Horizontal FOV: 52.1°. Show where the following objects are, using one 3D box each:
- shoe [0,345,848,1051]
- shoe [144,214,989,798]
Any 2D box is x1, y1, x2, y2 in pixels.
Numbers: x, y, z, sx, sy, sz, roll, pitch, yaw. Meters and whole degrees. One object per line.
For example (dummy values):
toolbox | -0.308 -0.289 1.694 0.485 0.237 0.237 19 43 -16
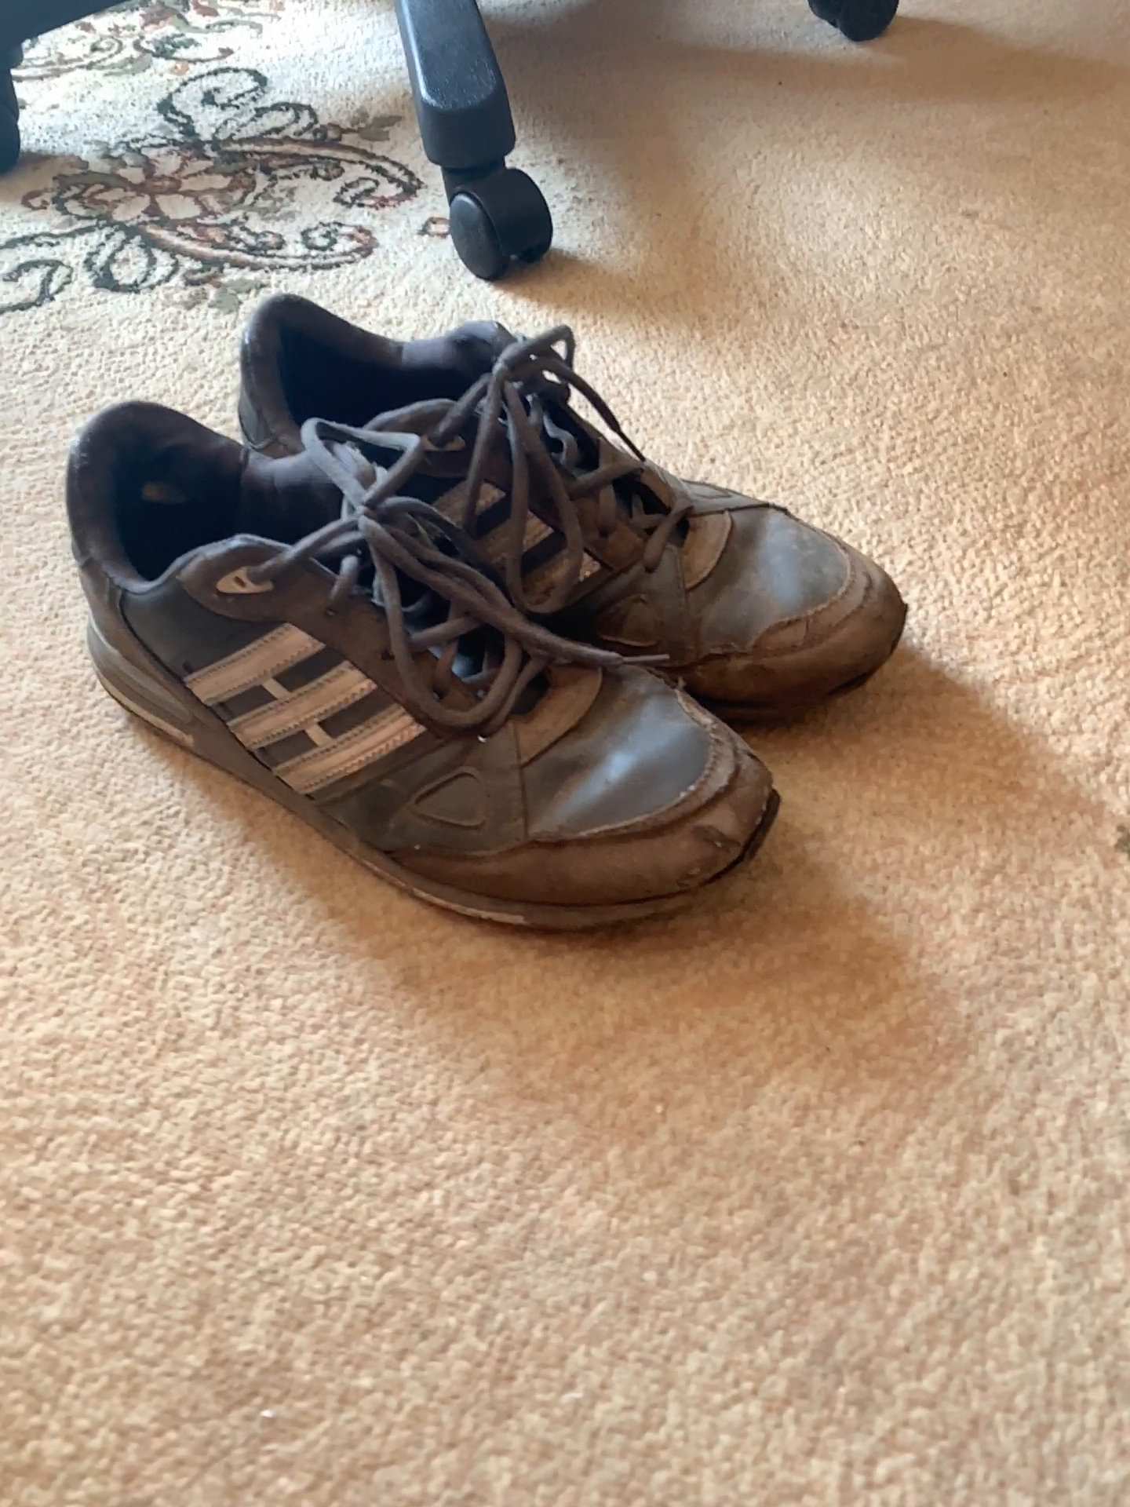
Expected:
shoe | -0.073 -0.034 0.424 0.313 0.099 0.117 25 58 20
shoe | -0.006 -0.116 0.487 0.311 0.099 0.121 25 58 20
